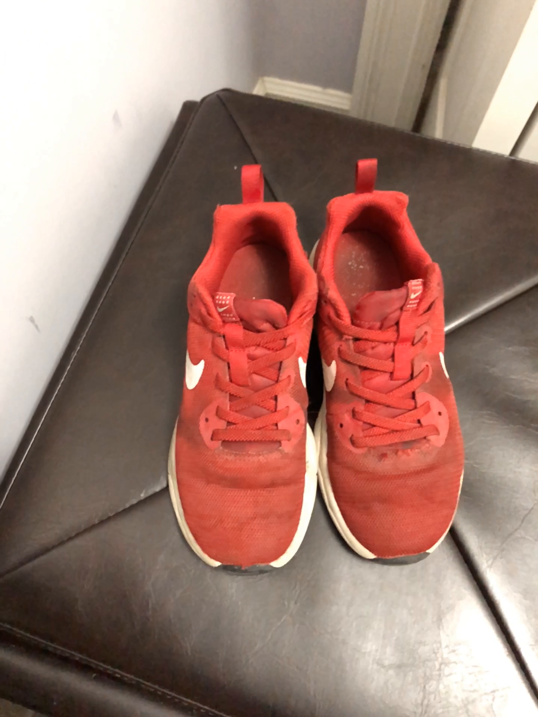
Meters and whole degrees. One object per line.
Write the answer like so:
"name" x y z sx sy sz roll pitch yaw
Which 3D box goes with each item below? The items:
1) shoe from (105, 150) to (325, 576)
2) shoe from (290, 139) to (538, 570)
"shoe" -0.020 0.005 0.344 0.095 0.100 0.220 1 71 1
"shoe" 0.074 0.001 0.347 0.095 0.100 0.220 -5 71 -2
